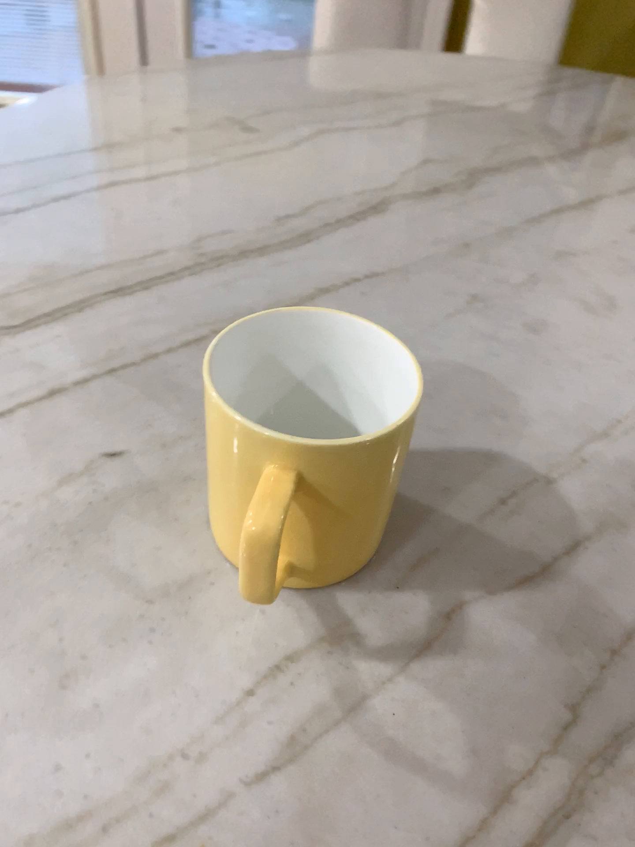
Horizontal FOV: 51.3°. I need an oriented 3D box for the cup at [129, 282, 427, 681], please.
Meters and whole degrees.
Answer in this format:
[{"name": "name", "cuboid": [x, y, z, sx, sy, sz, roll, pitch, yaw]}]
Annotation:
[{"name": "cup", "cuboid": [-0.007, 0.015, 0.237, 0.074, 0.074, 0.110, 10, 42, 4]}]
